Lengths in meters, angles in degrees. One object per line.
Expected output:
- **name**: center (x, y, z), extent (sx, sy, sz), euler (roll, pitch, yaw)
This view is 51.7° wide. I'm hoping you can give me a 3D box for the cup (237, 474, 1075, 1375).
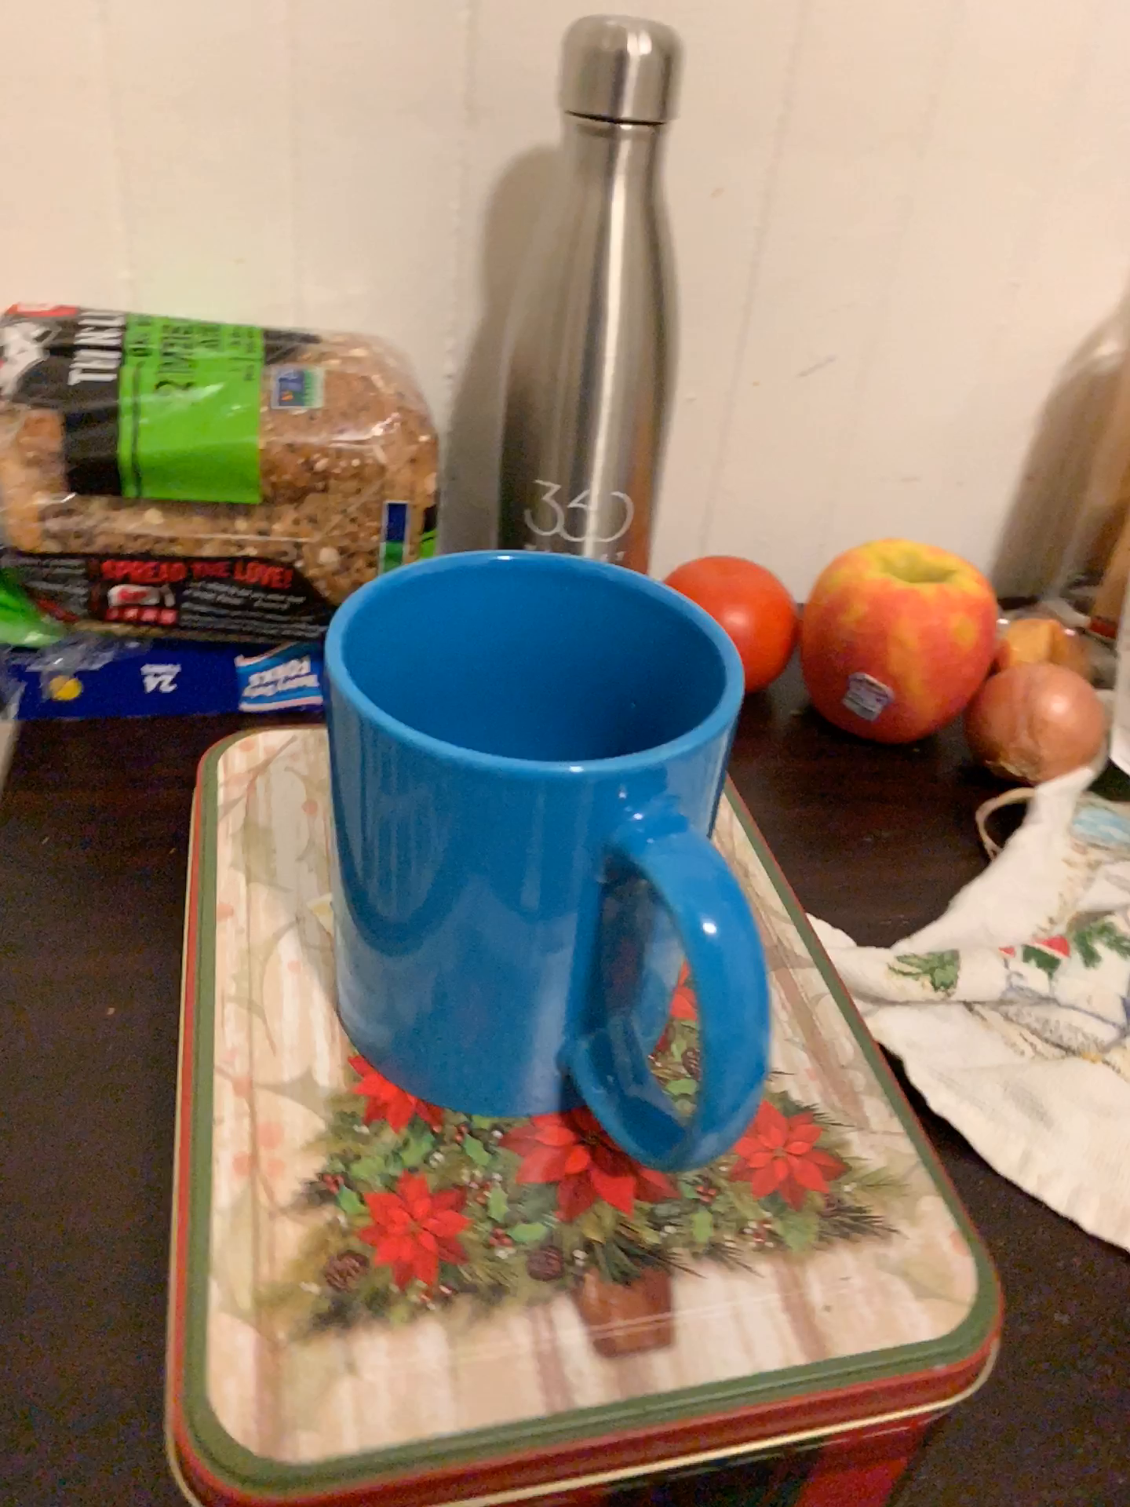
- **cup**: center (0.005, 0.021, 0.239), extent (0.090, 0.099, 0.131), euler (-19, 43, -31)
